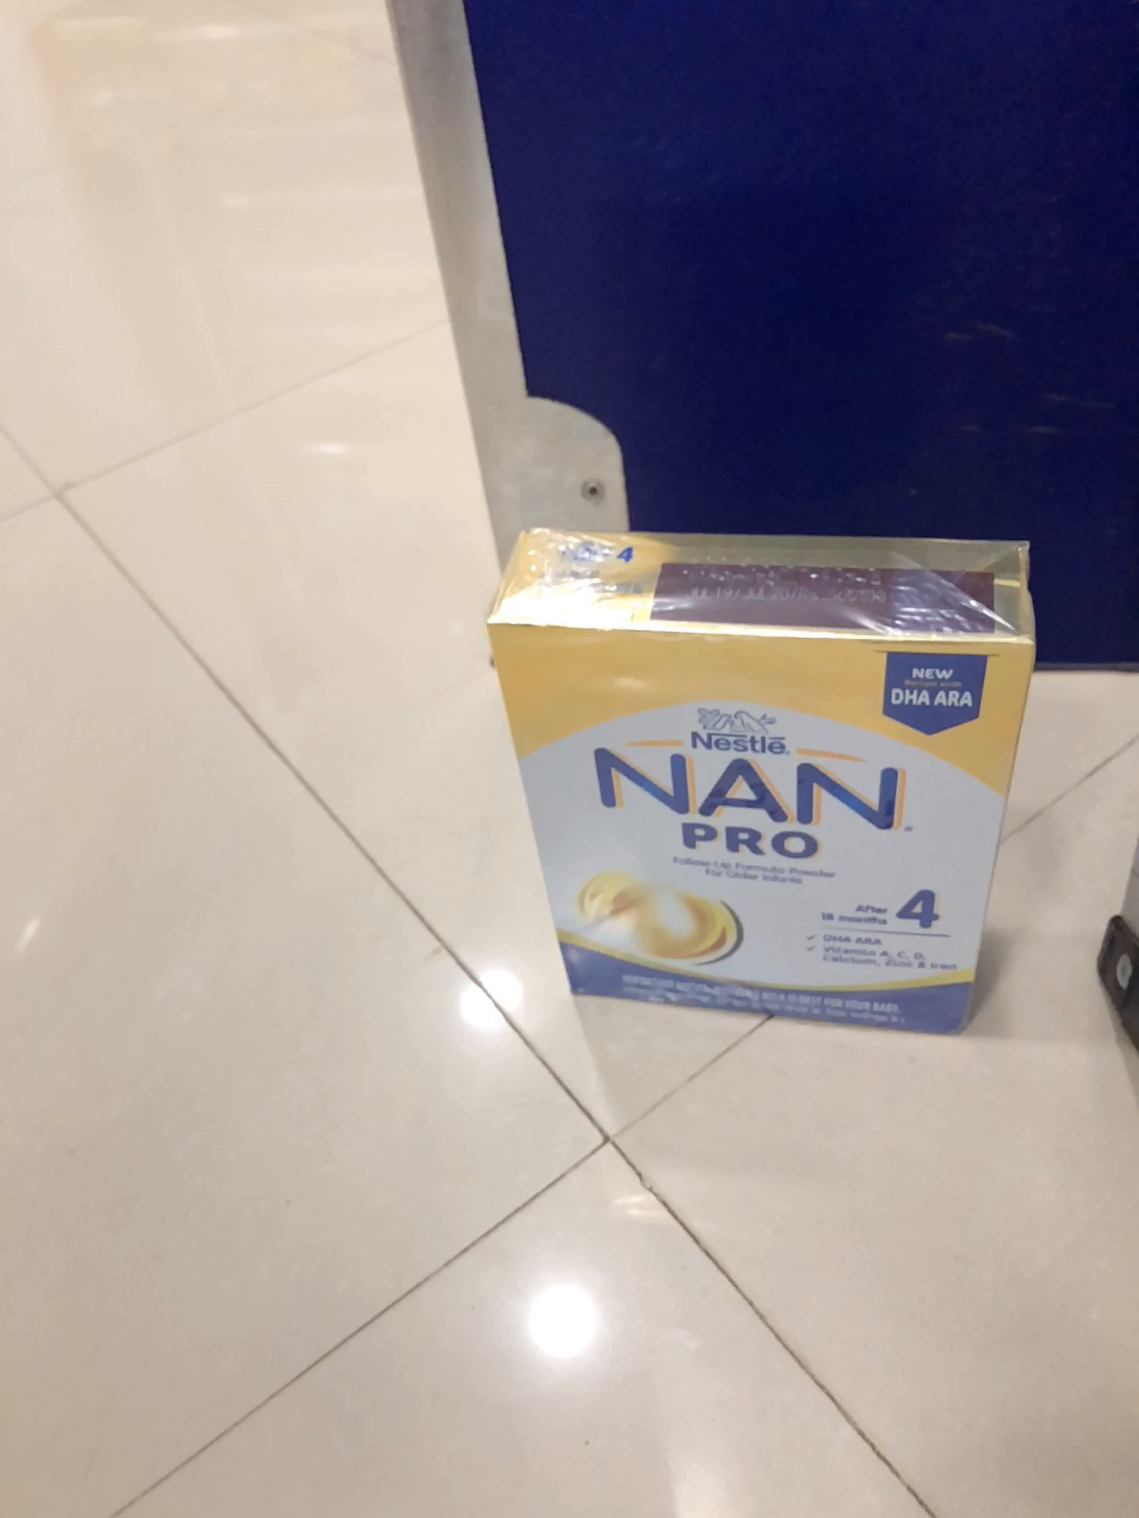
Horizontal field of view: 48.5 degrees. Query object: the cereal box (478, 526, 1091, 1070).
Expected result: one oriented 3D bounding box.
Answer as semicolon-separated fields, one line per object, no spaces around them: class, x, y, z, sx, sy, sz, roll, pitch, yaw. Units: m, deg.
cereal box;0.074;0.022;0.445;0.170;0.209;0.050;4;46;14
